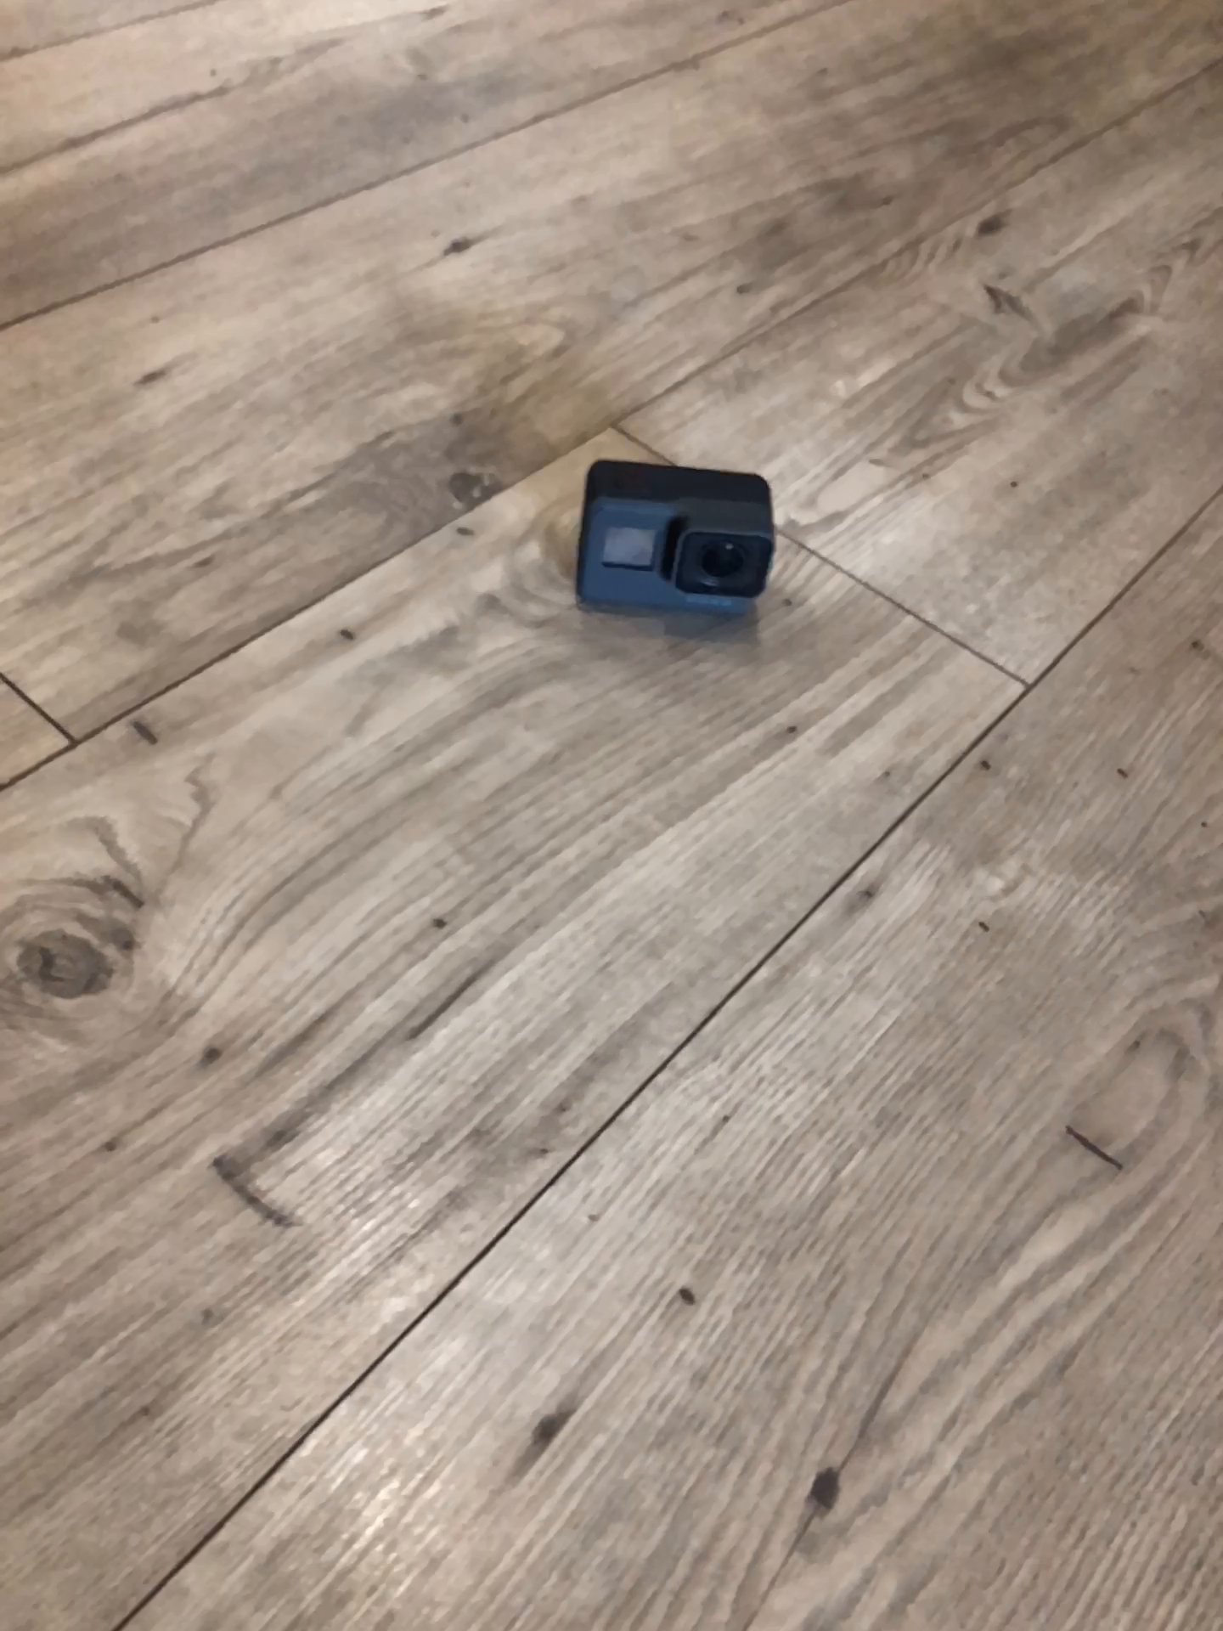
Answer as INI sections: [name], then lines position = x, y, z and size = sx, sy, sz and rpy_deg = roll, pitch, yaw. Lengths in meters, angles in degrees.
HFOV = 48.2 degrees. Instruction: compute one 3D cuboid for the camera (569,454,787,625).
[camera]
position = 0.020, -0.091, 0.452
size = 0.065, 0.040, 0.032
rpy_deg = 3, 51, -6
